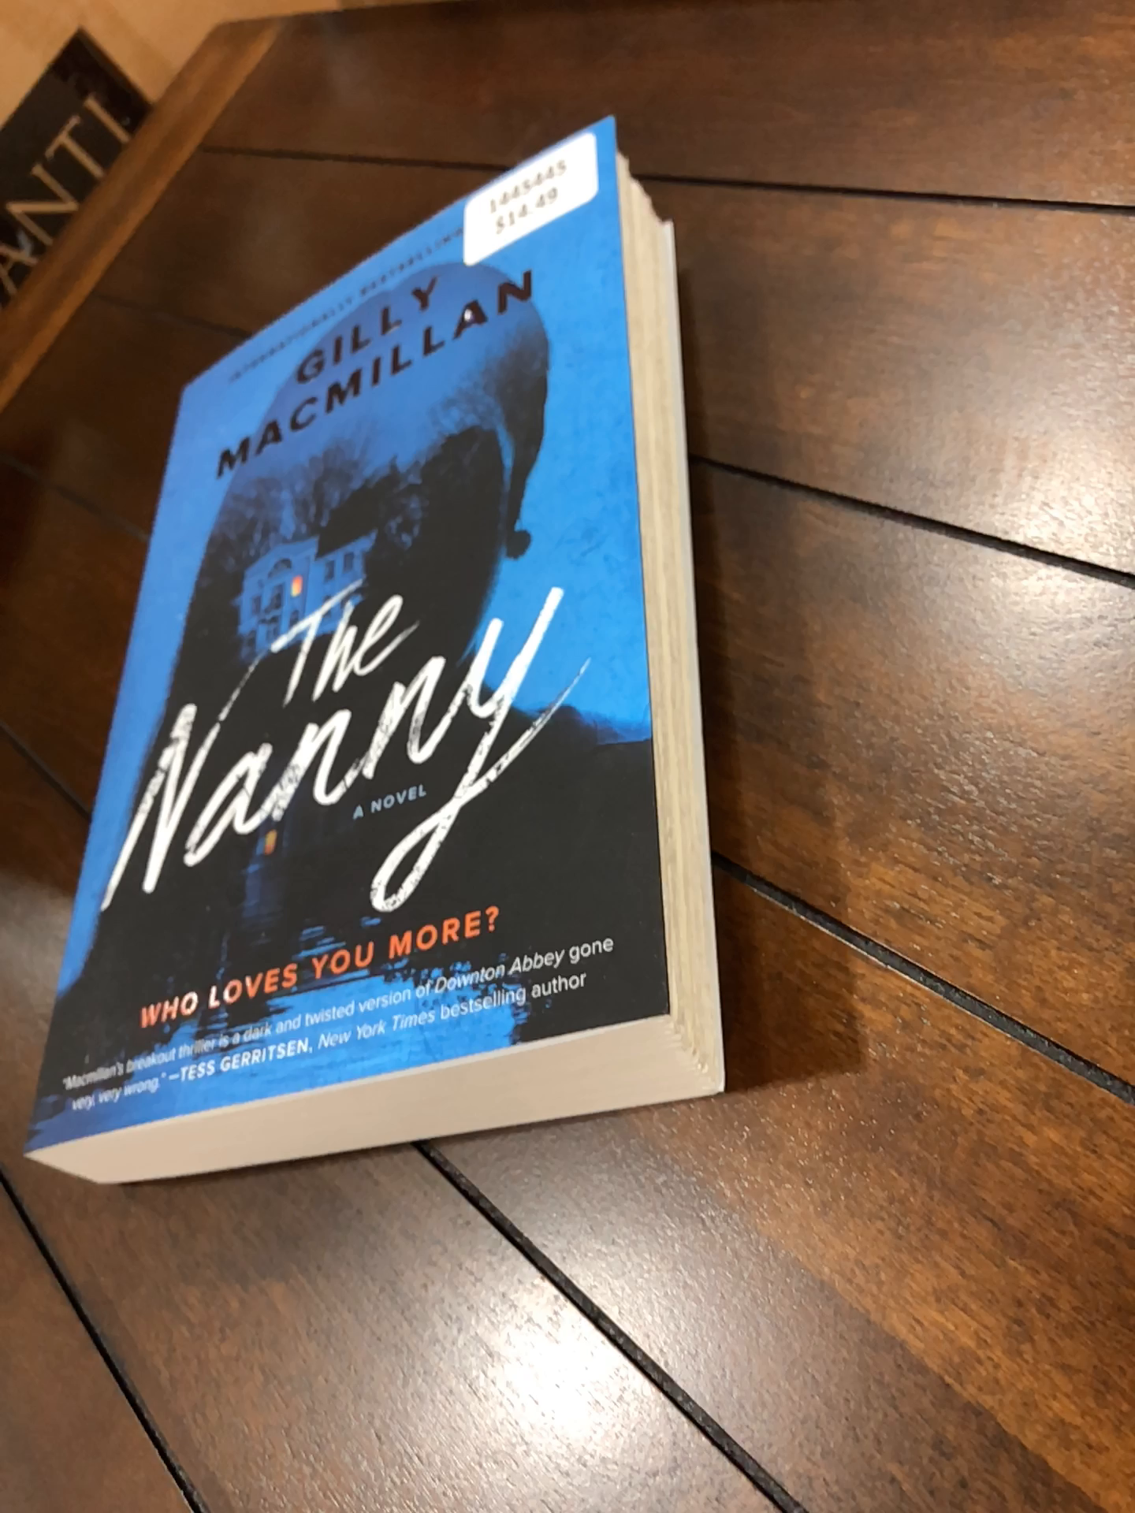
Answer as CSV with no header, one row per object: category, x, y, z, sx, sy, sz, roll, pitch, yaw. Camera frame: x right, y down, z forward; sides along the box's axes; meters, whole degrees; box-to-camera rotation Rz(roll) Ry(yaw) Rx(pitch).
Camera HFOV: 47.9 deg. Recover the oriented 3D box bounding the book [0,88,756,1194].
book,-0.042,-0.030,0.296,0.161,0.040,0.230,-19,51,30
